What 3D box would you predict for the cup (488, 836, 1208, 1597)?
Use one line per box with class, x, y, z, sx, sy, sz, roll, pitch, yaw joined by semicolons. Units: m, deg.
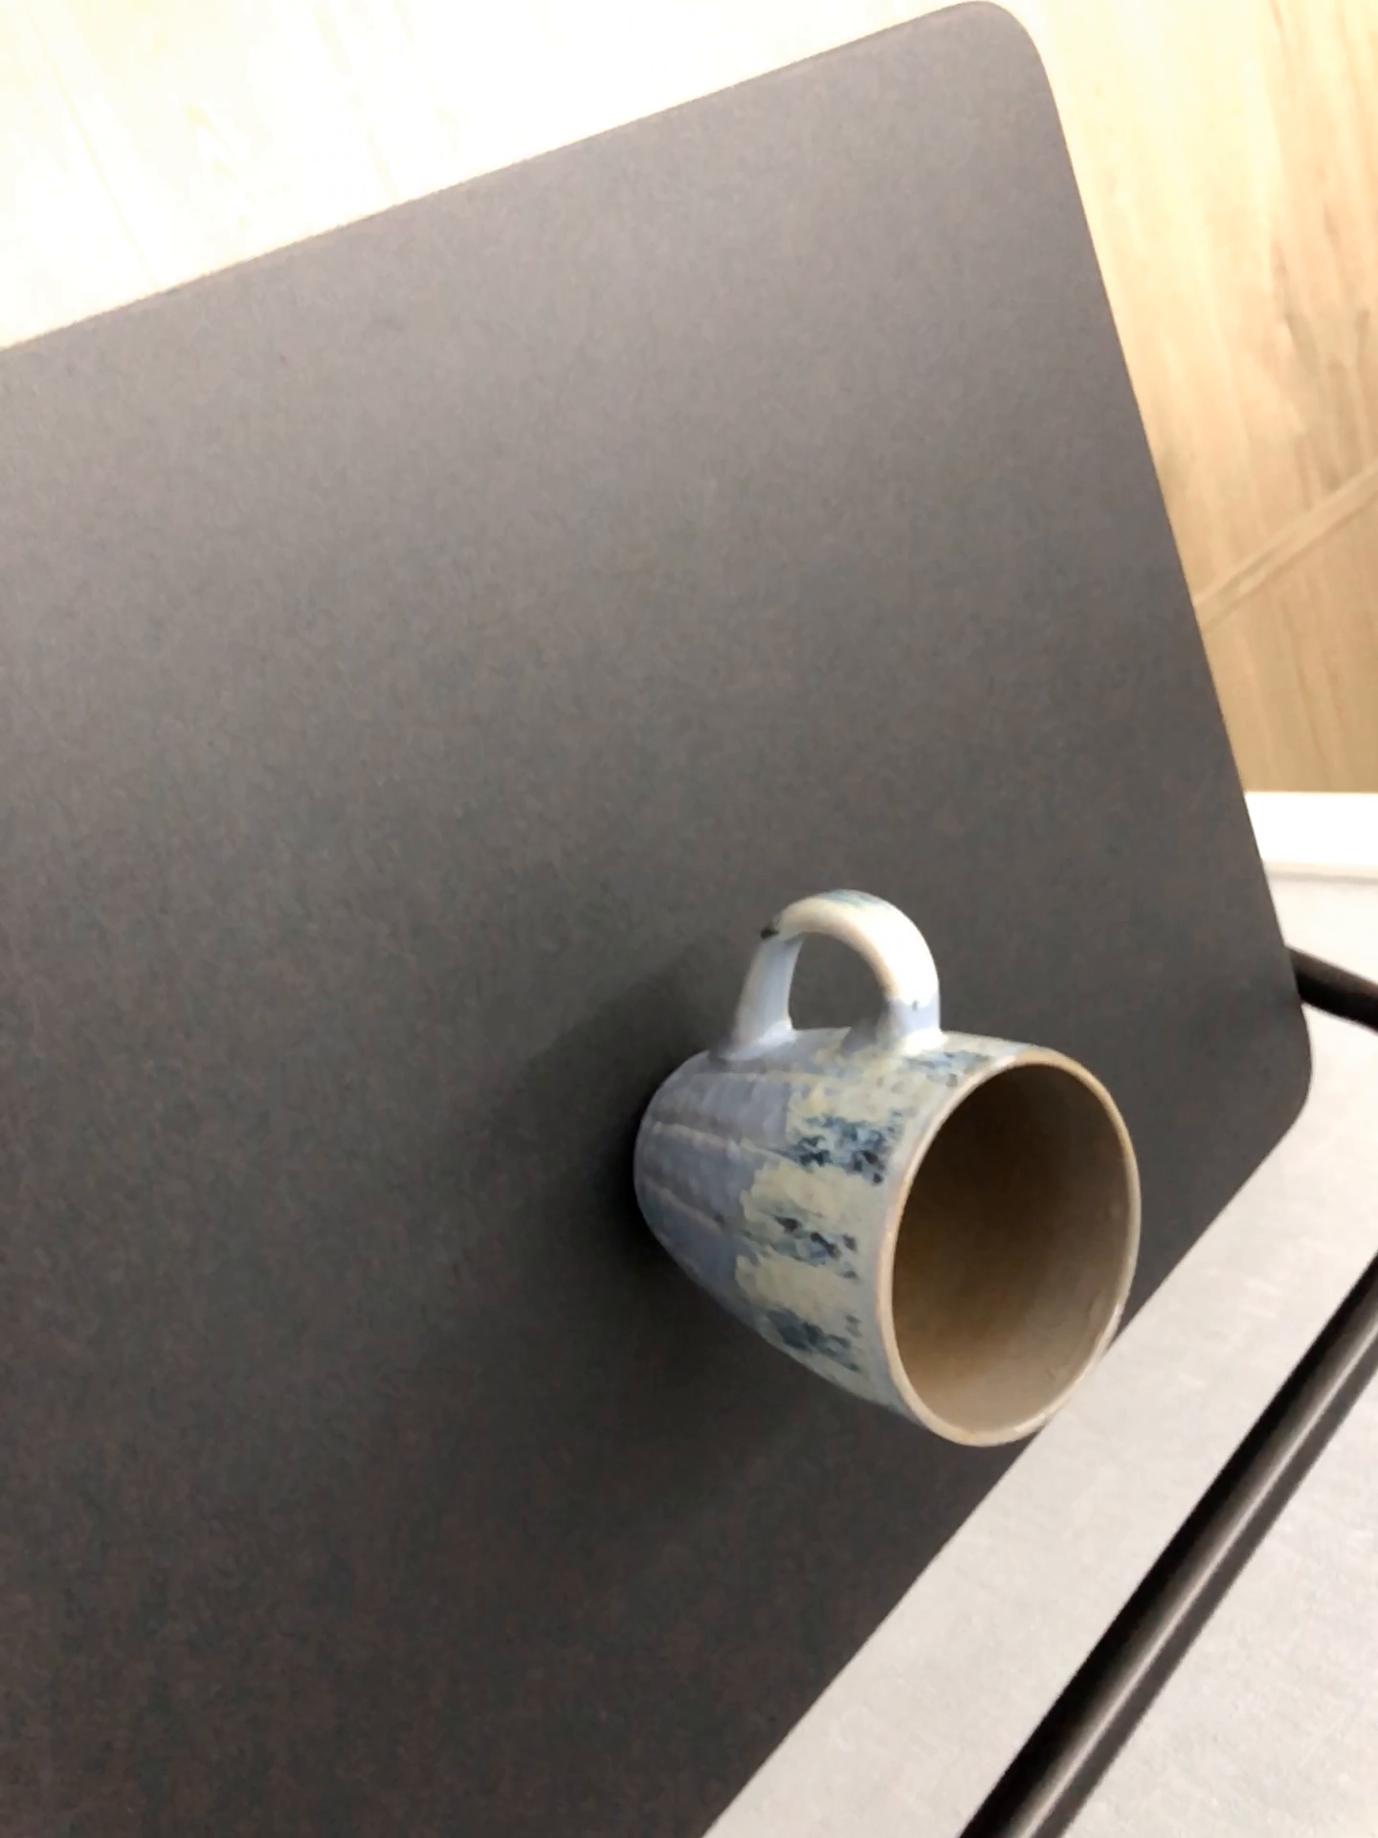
cup;0.037;0.056;0.346;0.089;0.107;0.120;-29;113;-35
